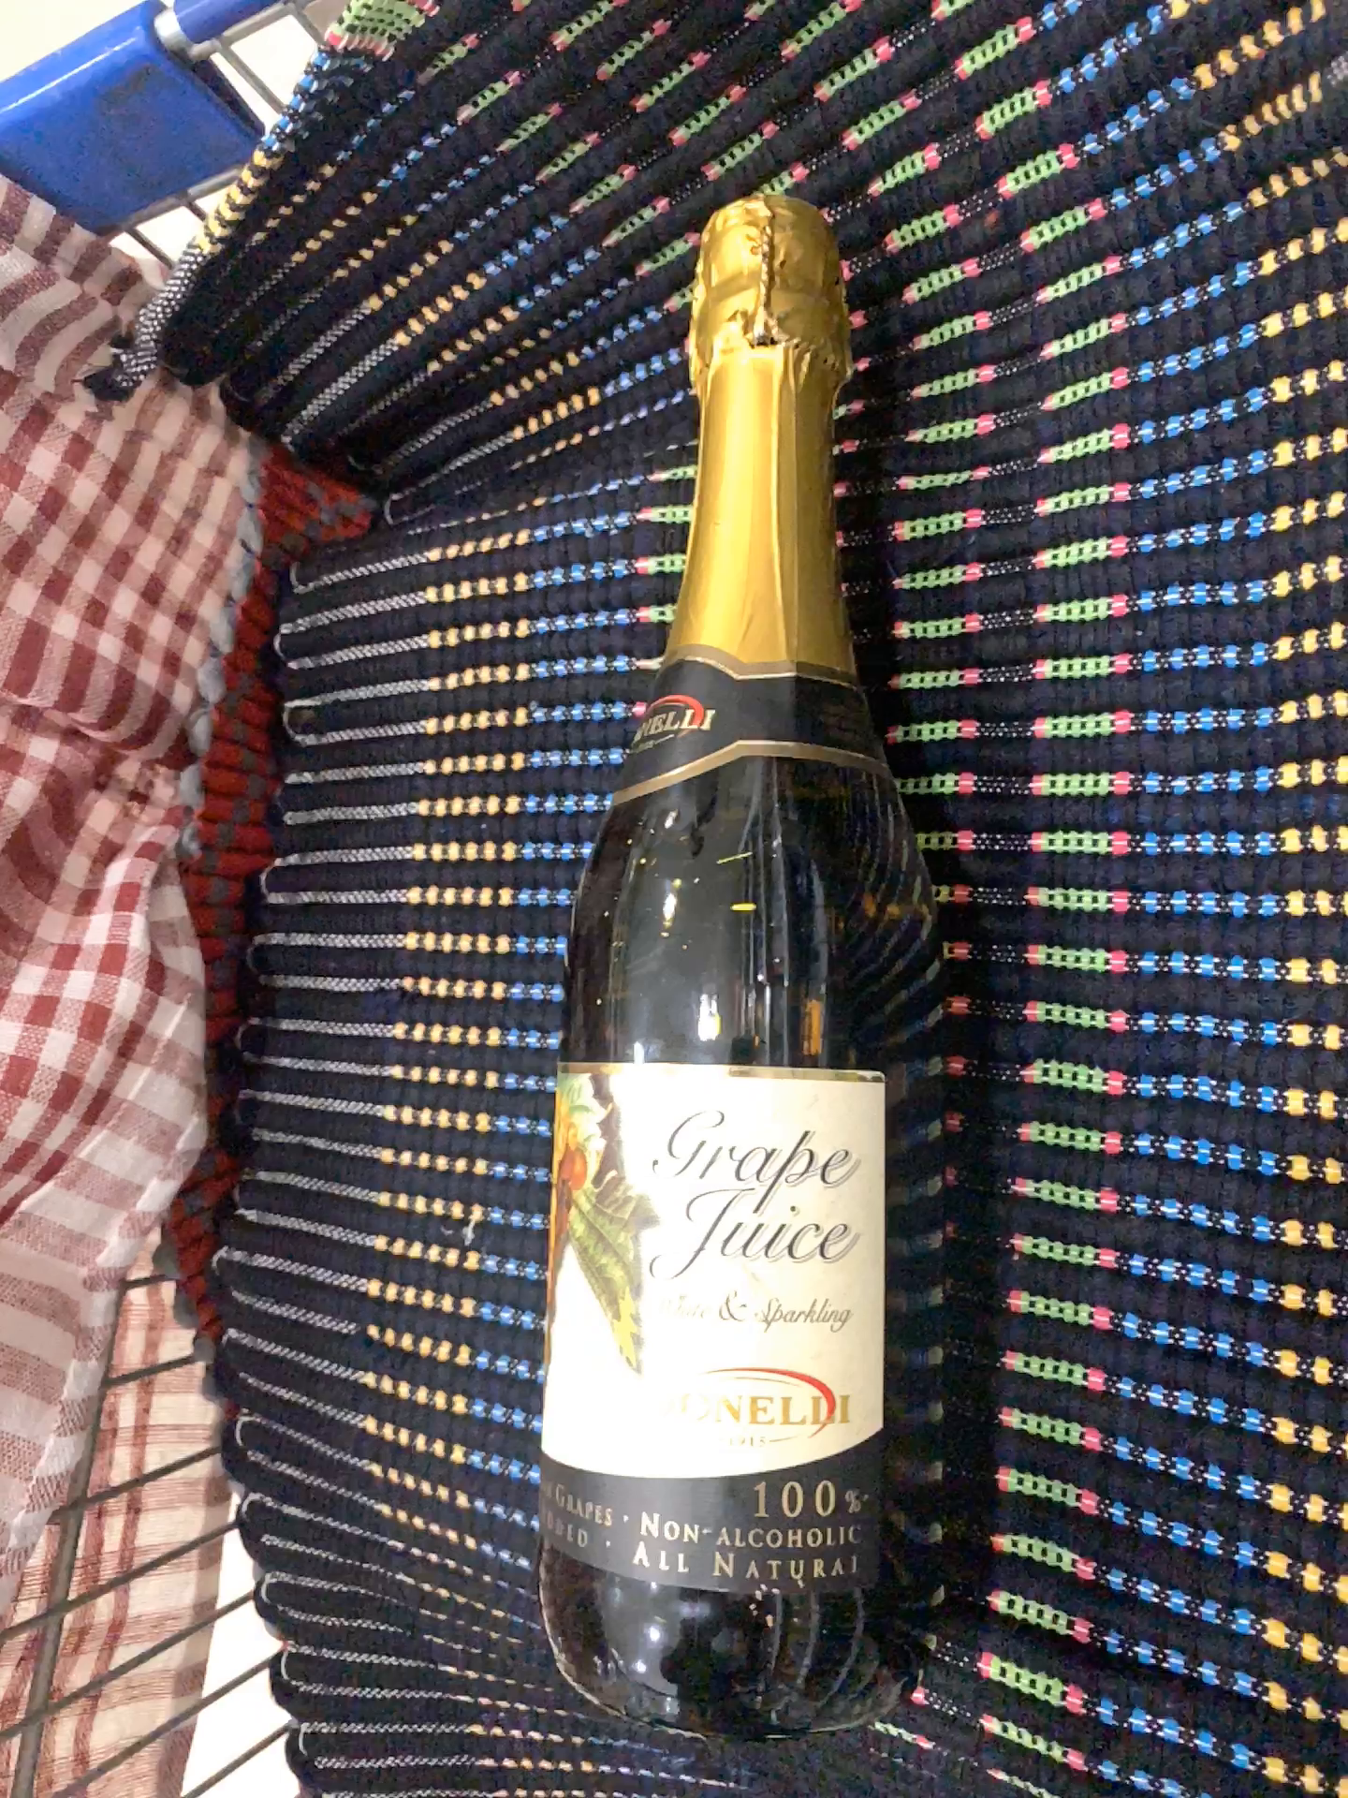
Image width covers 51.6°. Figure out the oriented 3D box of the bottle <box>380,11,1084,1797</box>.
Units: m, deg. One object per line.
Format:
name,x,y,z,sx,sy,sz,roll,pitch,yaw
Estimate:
bottle,0.023,-0.005,0.276,0.090,0.080,0.300,-3,75,30
